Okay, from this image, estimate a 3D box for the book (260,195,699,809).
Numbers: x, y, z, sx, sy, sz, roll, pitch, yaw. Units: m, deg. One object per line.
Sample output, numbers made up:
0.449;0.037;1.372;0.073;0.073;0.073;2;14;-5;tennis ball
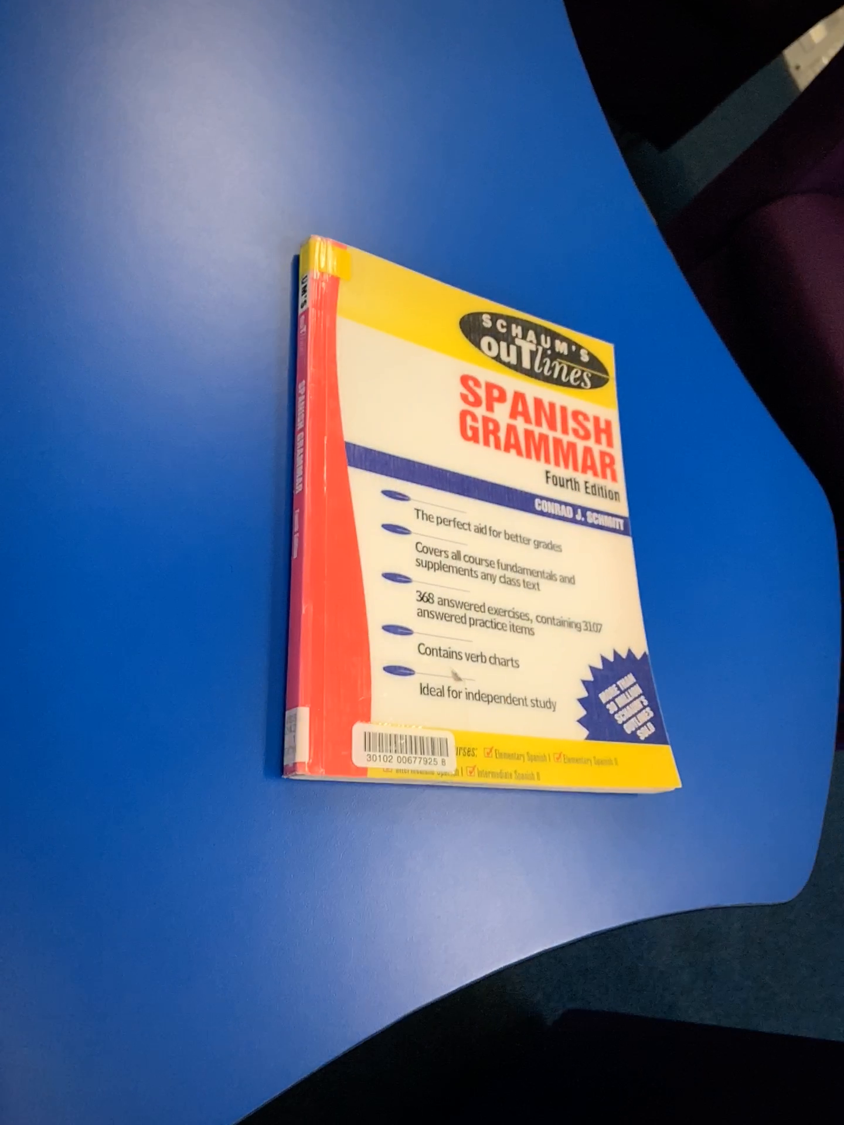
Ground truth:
0.030;-0.025;0.439;0.210;0.040;0.281;11;65;-30;book
